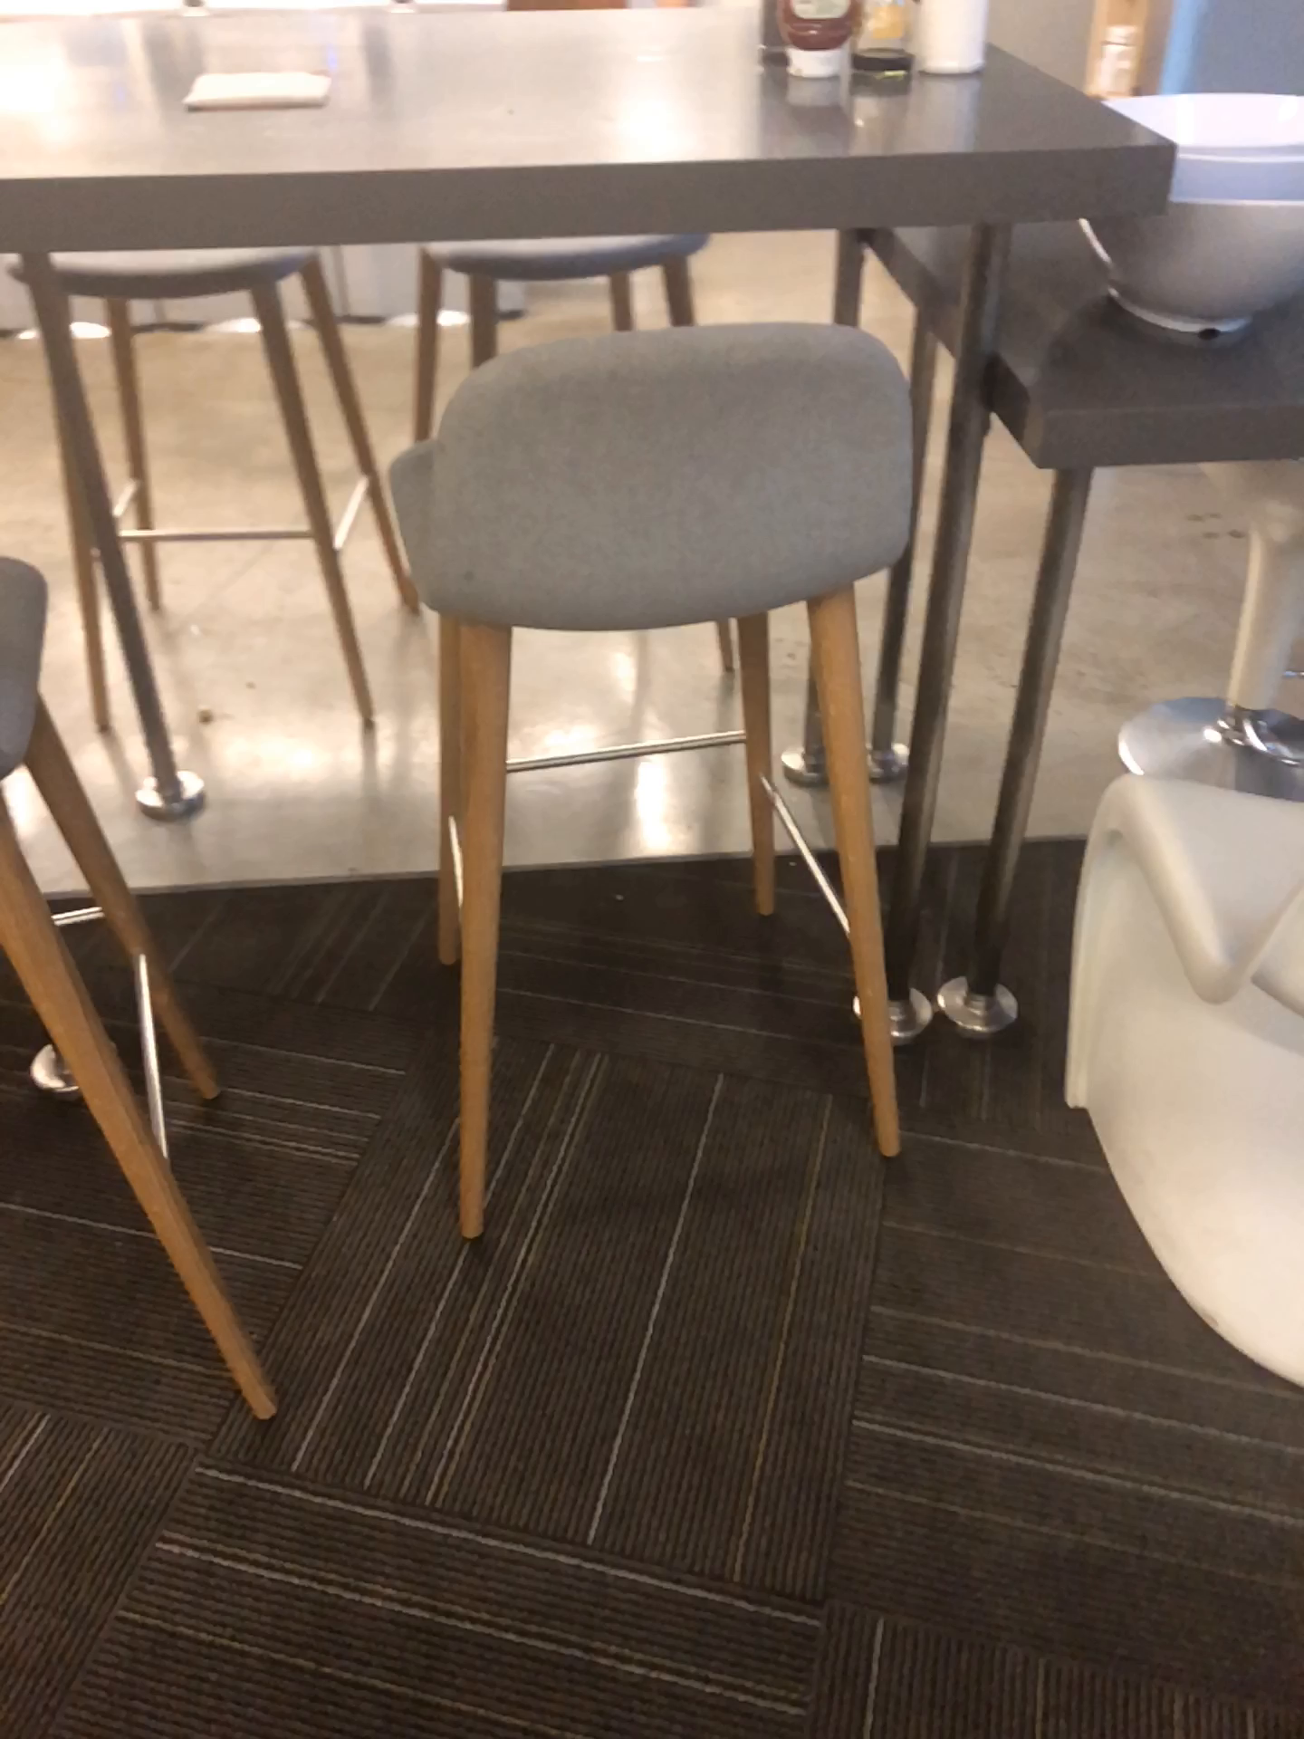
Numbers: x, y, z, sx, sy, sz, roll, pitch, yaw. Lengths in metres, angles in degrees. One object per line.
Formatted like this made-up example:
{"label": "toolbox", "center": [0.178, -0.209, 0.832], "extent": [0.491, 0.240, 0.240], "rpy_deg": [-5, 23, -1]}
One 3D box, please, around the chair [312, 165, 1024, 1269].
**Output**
{"label": "chair", "center": [-0.021, -0.152, 1.594], "extent": [0.541, 1.031, 0.544], "rpy_deg": [-8, 37, -9]}

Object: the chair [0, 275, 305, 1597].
{"label": "chair", "center": [-0.695, 0.061, 1.268], "extent": [0.571, 0.942, 0.544], "rpy_deg": [-10, 37, -13]}
